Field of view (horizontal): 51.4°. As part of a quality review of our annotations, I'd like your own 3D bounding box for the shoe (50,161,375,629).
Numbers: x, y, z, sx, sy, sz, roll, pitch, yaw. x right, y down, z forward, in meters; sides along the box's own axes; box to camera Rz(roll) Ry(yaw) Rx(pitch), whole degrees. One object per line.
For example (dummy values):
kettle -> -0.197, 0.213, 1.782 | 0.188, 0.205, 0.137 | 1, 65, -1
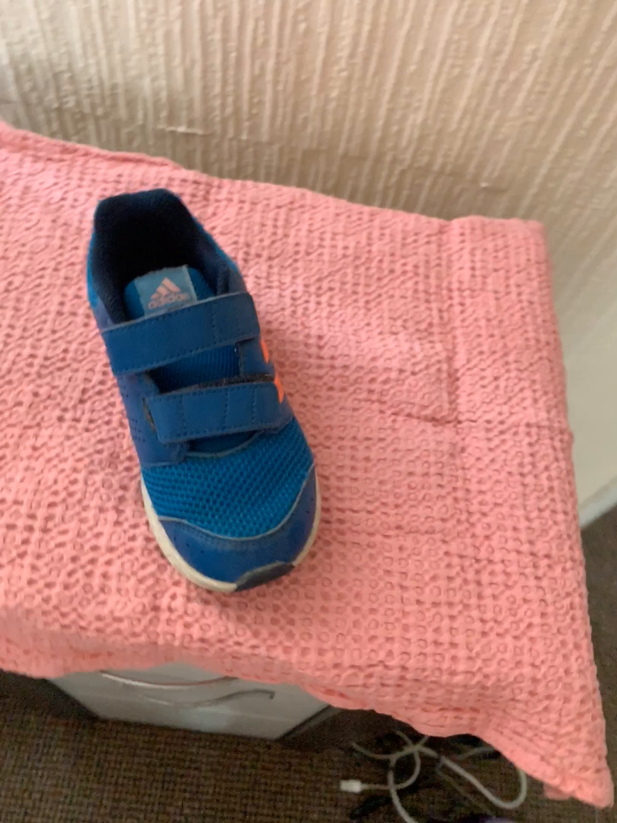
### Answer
shoe -> -0.056, -0.018, 0.315 | 0.084, 0.075, 0.208 | -15, 63, -17
